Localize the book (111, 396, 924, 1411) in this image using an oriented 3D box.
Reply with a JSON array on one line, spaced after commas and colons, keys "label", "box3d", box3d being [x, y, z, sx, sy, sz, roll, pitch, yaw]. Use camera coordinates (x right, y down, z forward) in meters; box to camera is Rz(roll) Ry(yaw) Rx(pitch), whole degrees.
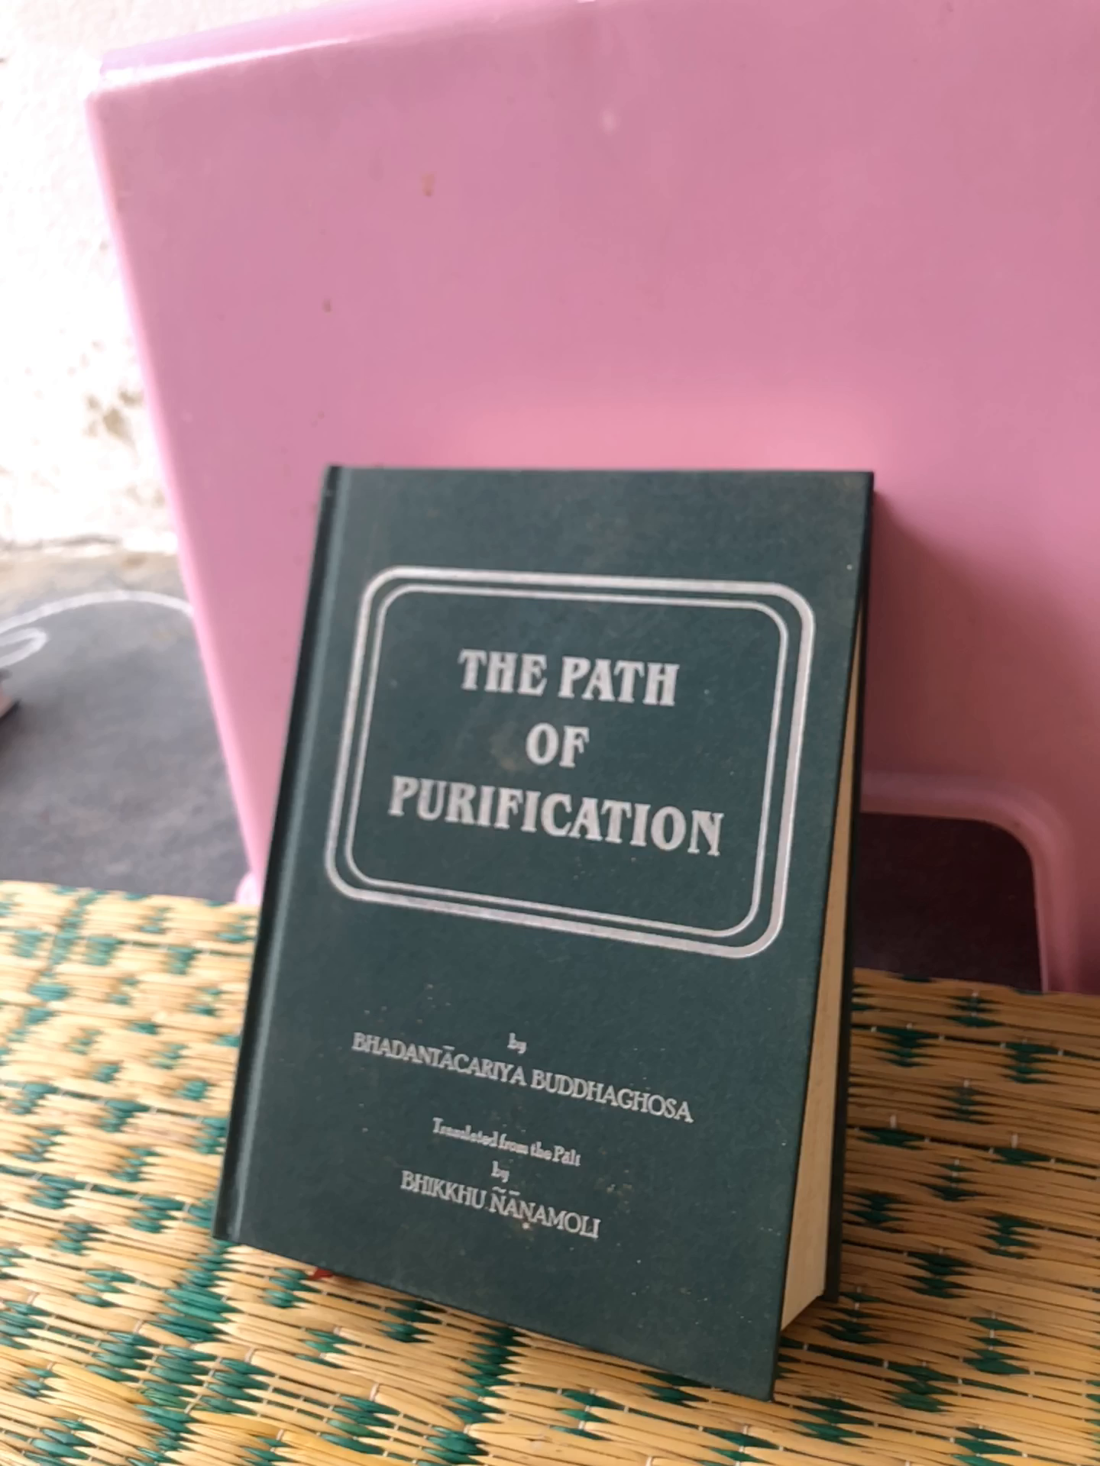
[{"label": "book", "box3d": [-0.002, 0.030, 0.324, 0.160, 0.080, 0.210, 5, 79, 25]}]
